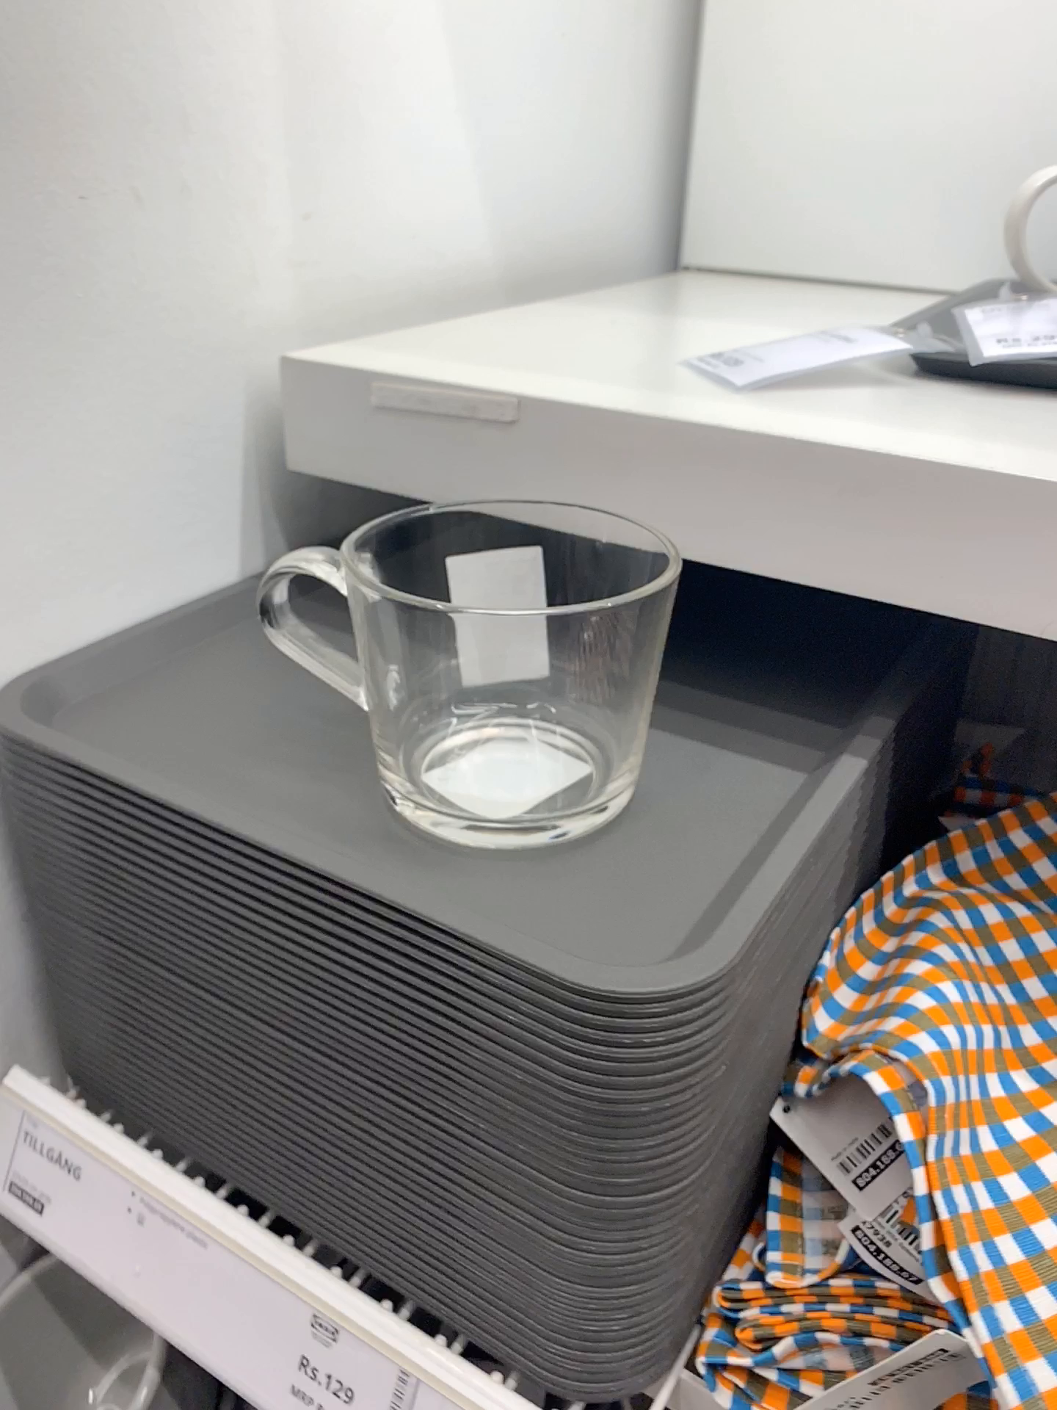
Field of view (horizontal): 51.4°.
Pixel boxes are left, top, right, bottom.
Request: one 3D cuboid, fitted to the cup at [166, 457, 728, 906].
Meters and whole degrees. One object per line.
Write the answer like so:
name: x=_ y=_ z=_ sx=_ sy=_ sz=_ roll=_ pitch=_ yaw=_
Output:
cup: x=-0.019 y=-0.016 z=0.333 sx=0.130 sy=0.080 sz=0.100 roll=12 pitch=28 yaw=19
